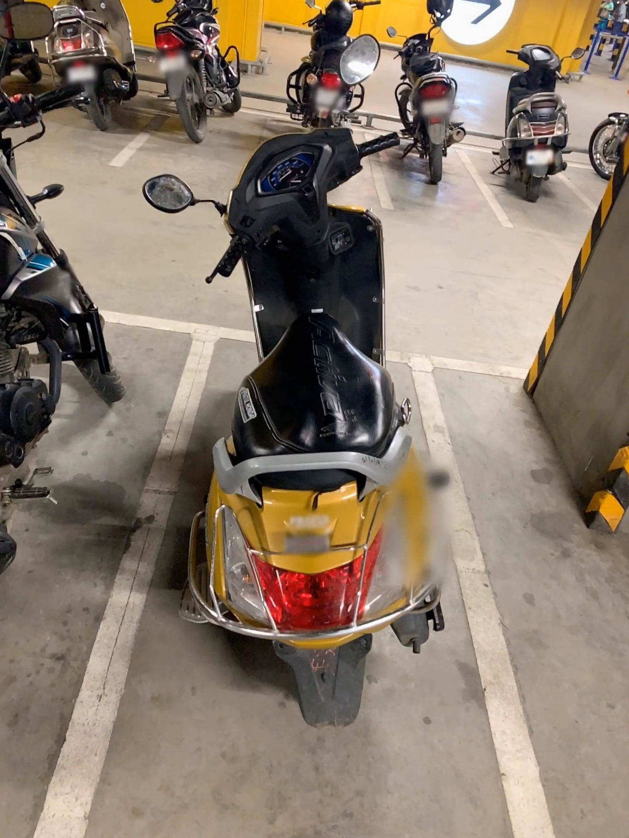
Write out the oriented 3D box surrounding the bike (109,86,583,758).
[{"bbox_3d":[-0.108,-0.145,1.650,0.568,0.993,1.528,3,35,-10],"label":"bike"}]
